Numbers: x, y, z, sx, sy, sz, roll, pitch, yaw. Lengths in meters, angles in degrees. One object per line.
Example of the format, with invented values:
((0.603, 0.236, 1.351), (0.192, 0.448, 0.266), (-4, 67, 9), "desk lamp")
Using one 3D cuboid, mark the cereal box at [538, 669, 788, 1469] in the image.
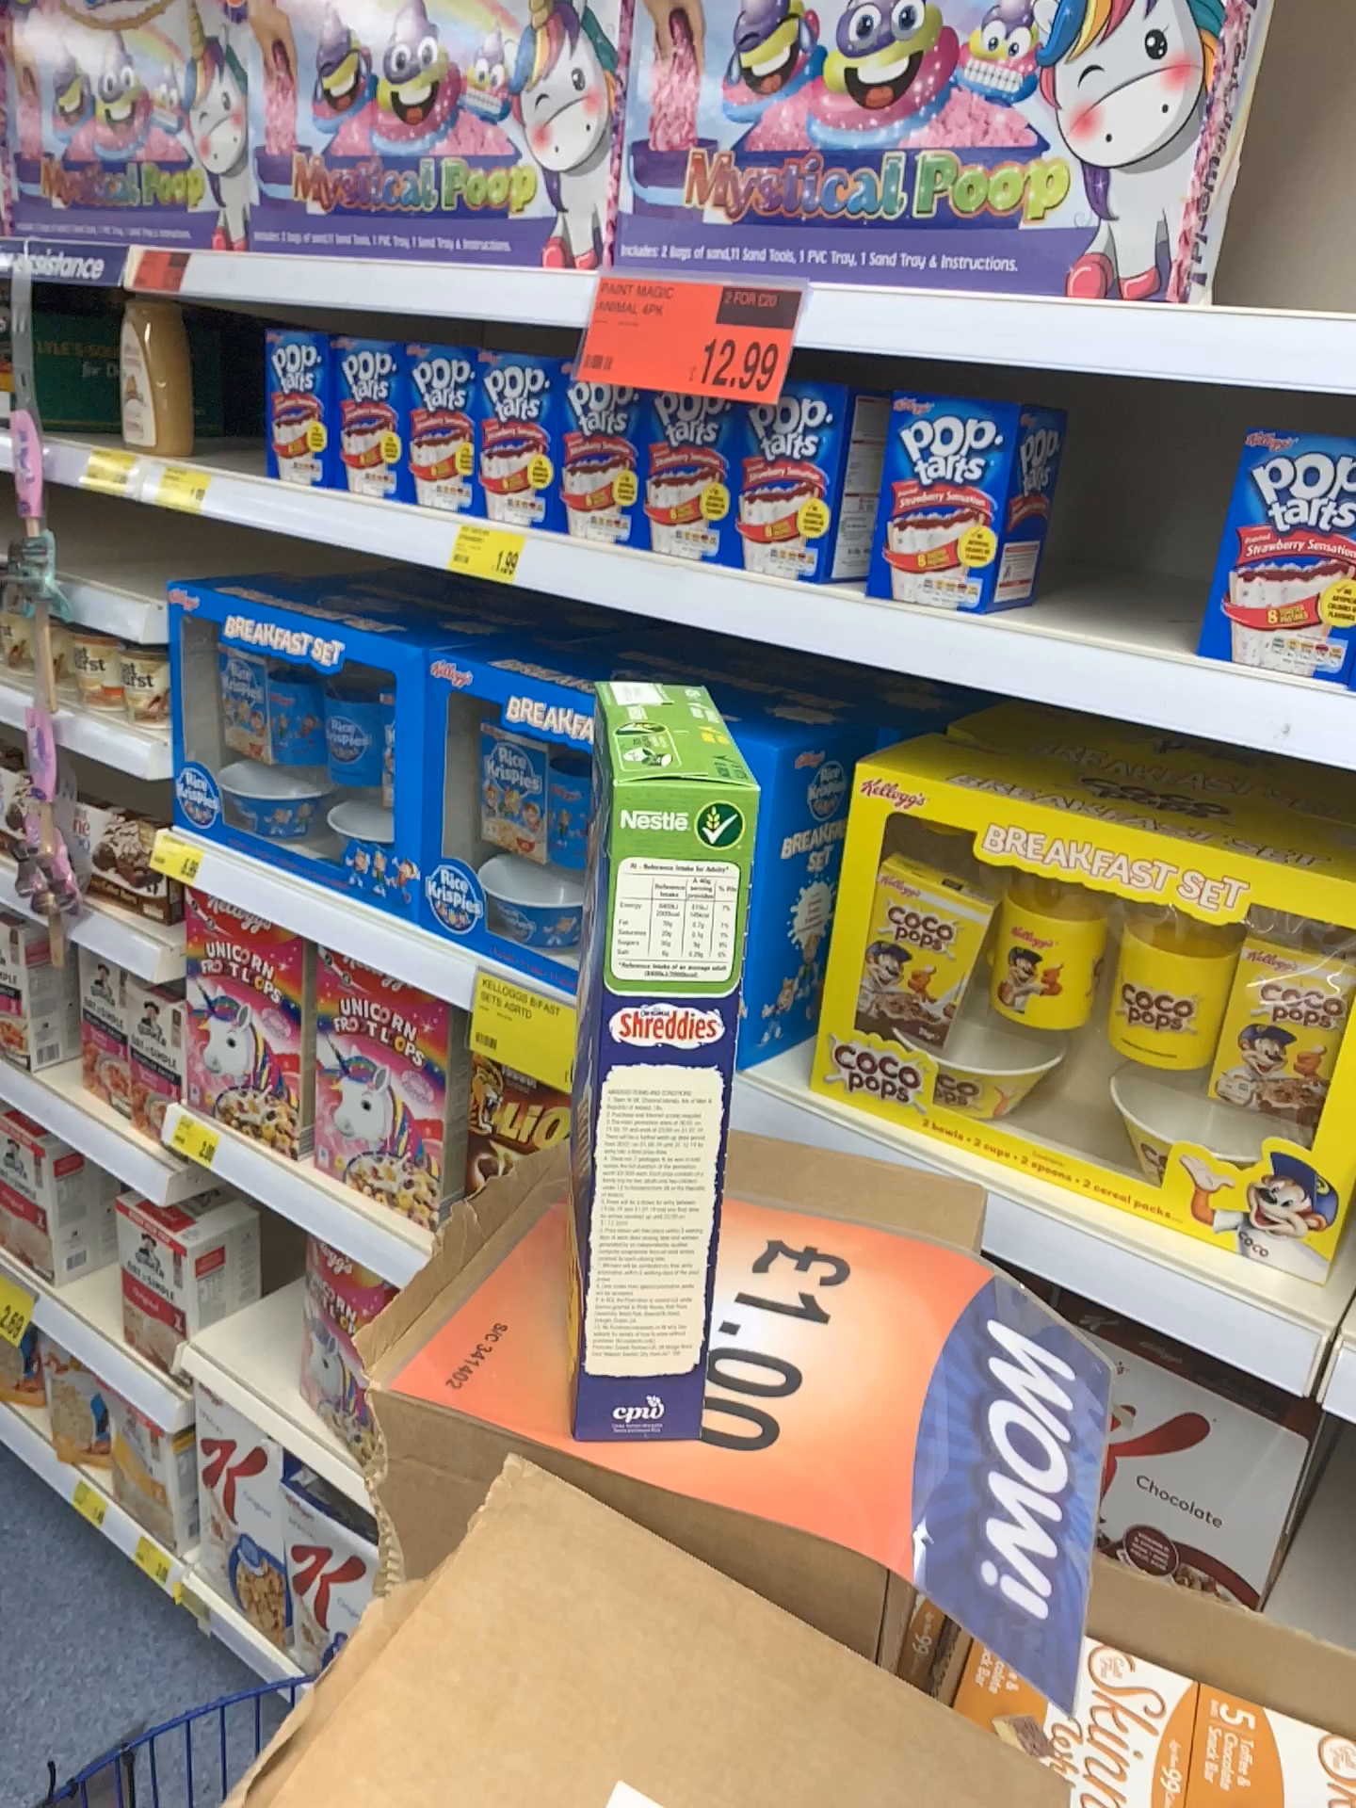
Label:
((-0.013, 0.054, 0.592), (0.070, 0.268, 0.211), (3, 18, -3), "cereal box")
